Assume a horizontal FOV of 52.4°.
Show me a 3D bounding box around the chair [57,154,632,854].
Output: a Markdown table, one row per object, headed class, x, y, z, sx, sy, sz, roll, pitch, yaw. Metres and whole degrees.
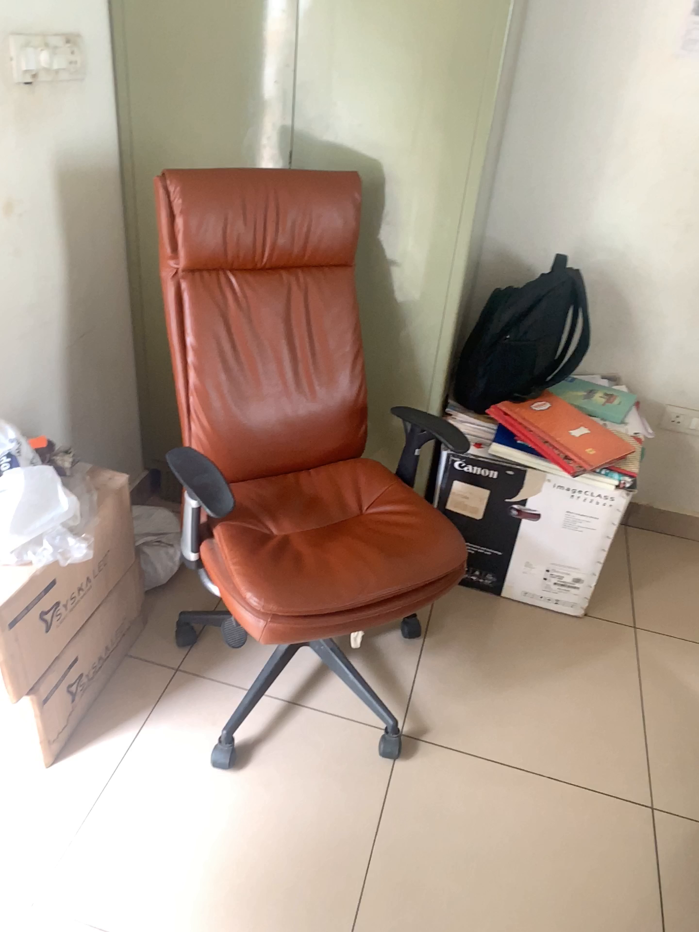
| class | x | y | z | sx | sy | sz | roll | pitch | yaw |
| --- | --- | --- | --- | --- | --- | --- | --- | --- | --- |
| chair | -0.136 | -0.008 | 1.567 | 0.690 | 1.085 | 0.933 | -11 | 37 | -26 |
